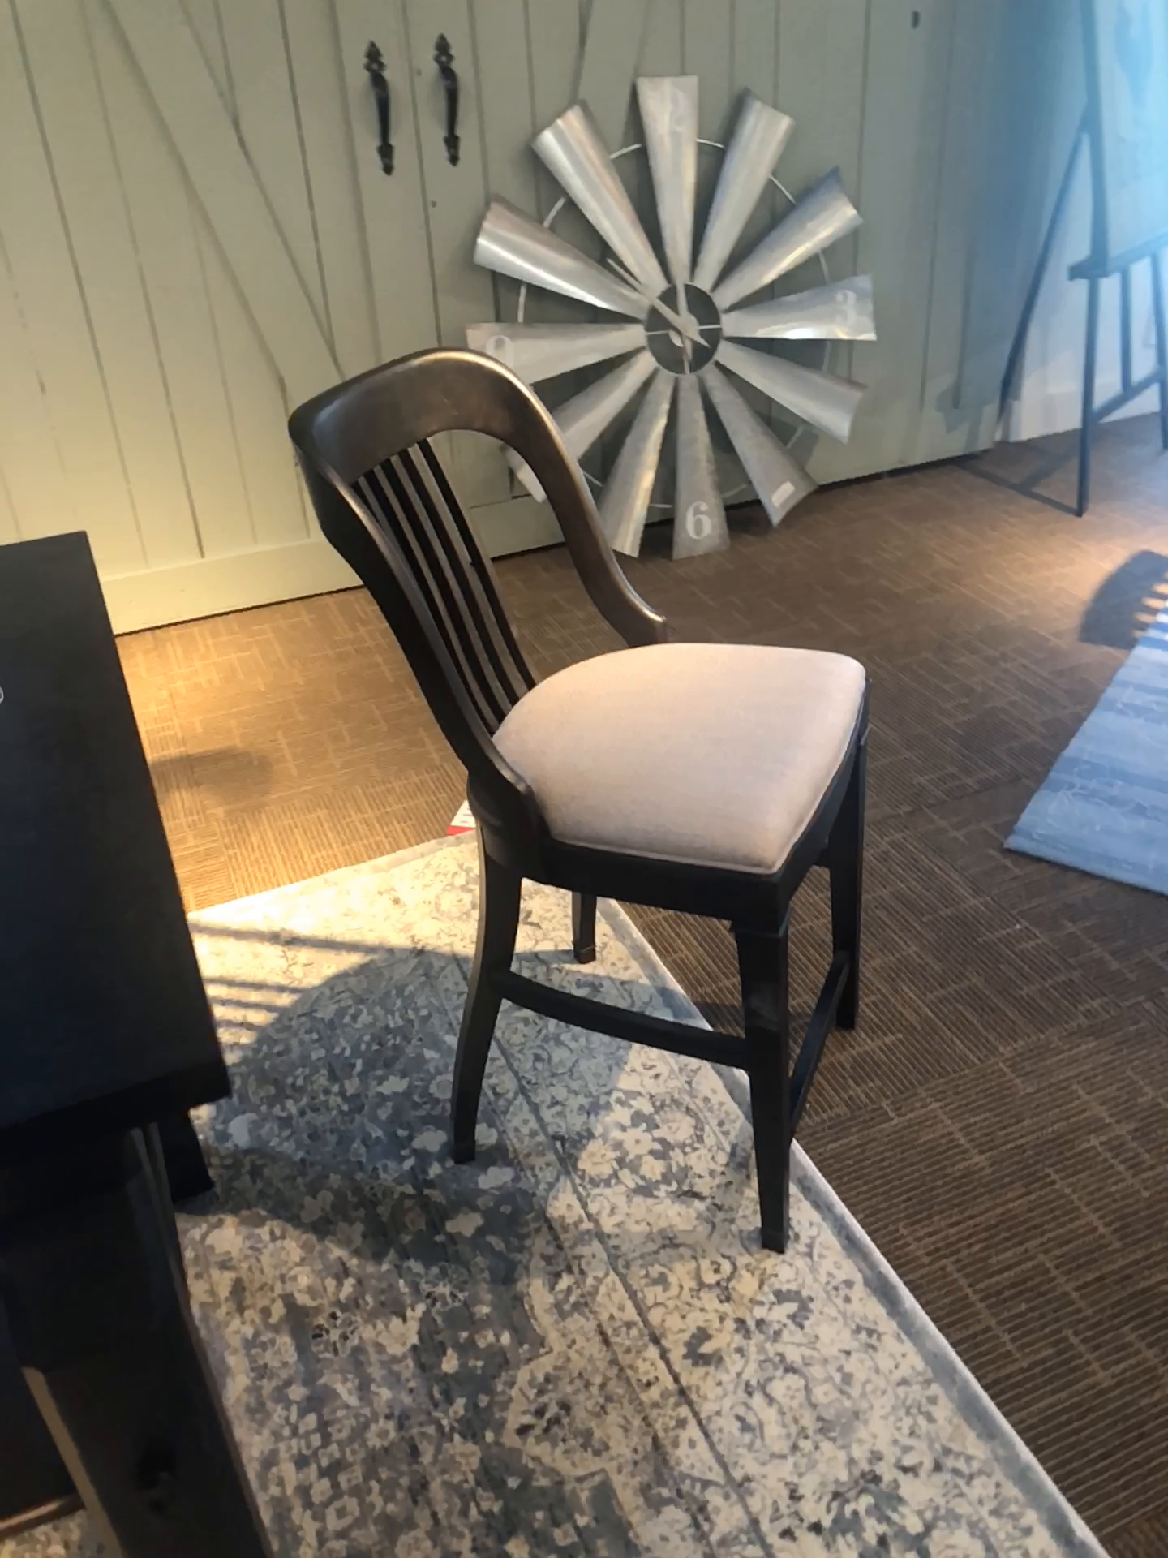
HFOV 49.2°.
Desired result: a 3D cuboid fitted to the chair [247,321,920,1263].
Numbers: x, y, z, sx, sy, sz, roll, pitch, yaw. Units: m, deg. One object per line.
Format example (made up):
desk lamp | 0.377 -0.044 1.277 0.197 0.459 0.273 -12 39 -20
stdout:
chair | 0.056 0.006 1.575 0.570 0.985 0.482 8 33 18
